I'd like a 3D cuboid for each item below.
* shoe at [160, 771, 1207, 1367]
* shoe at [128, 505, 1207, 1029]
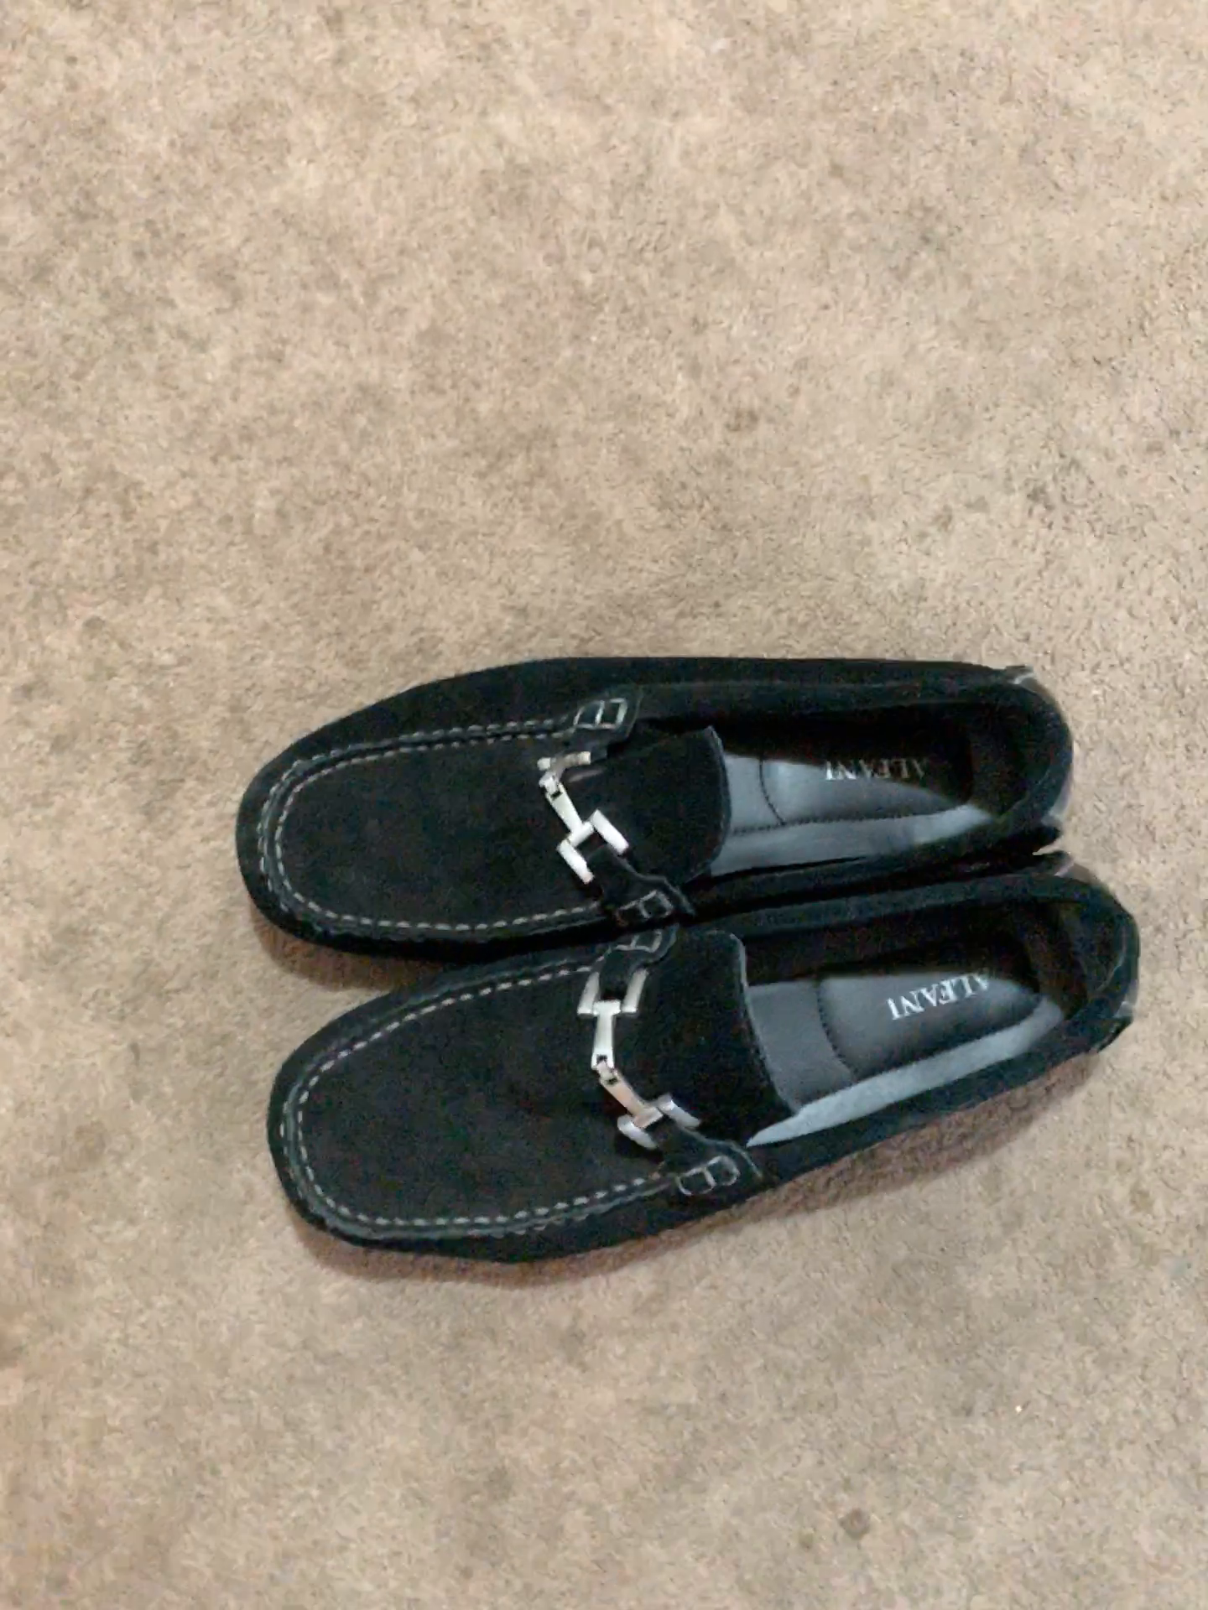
[{"bbox_3d":[0.040,0.076,0.388,0.310,0.100,0.100,-10,77,-7],"label":"shoe"},{"bbox_3d":[0.021,-0.009,0.414,0.310,0.100,0.100,-10,77,-7],"label":"shoe"}]
